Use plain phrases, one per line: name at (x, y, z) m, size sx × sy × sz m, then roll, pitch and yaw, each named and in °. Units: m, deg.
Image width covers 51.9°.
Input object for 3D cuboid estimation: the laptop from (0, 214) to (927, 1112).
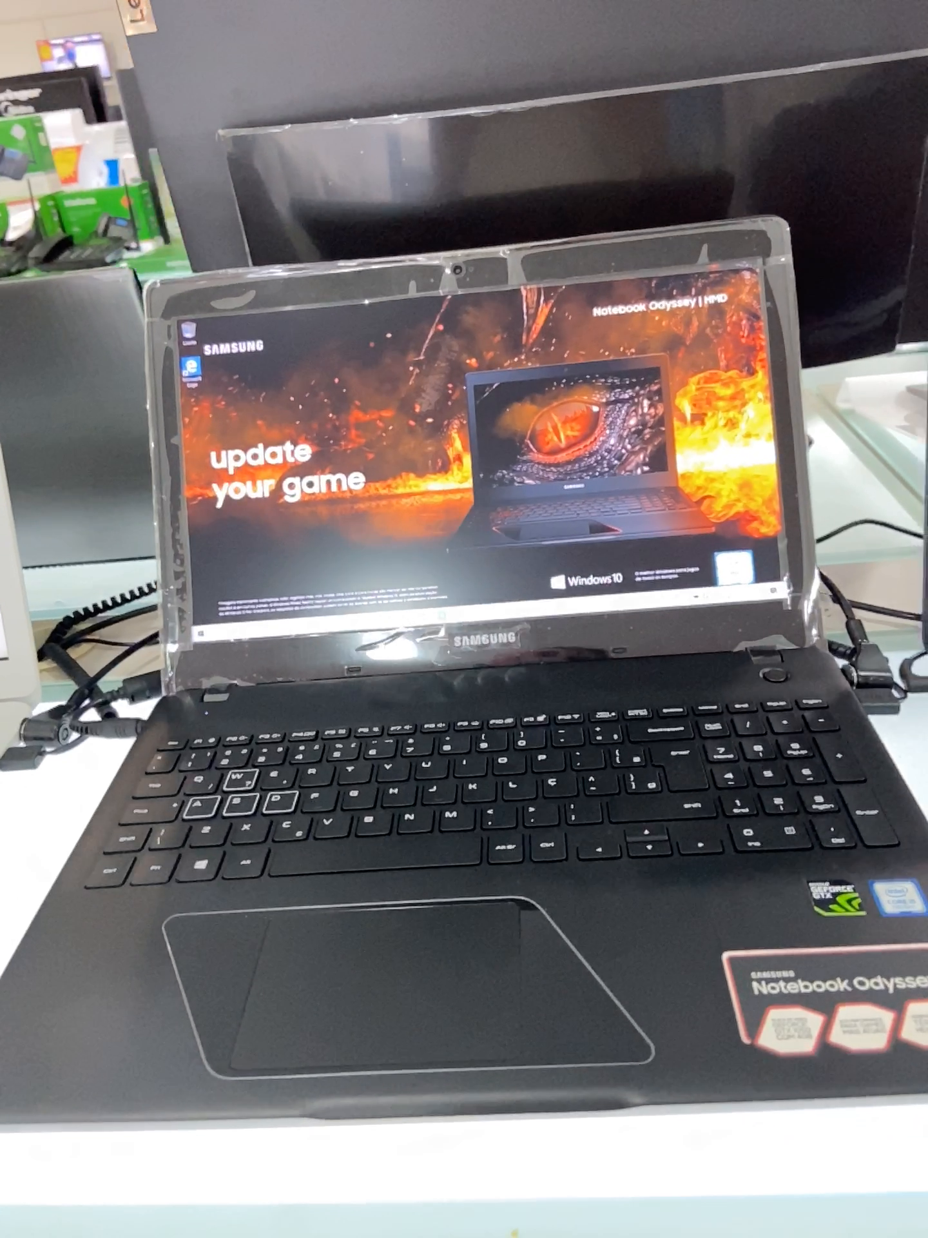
laptop at (-0.002, -0.031, 0.429) m, size 0.373 × 0.202 × 0.393 m, roll -4°, pitch 28°, yaw 5°
